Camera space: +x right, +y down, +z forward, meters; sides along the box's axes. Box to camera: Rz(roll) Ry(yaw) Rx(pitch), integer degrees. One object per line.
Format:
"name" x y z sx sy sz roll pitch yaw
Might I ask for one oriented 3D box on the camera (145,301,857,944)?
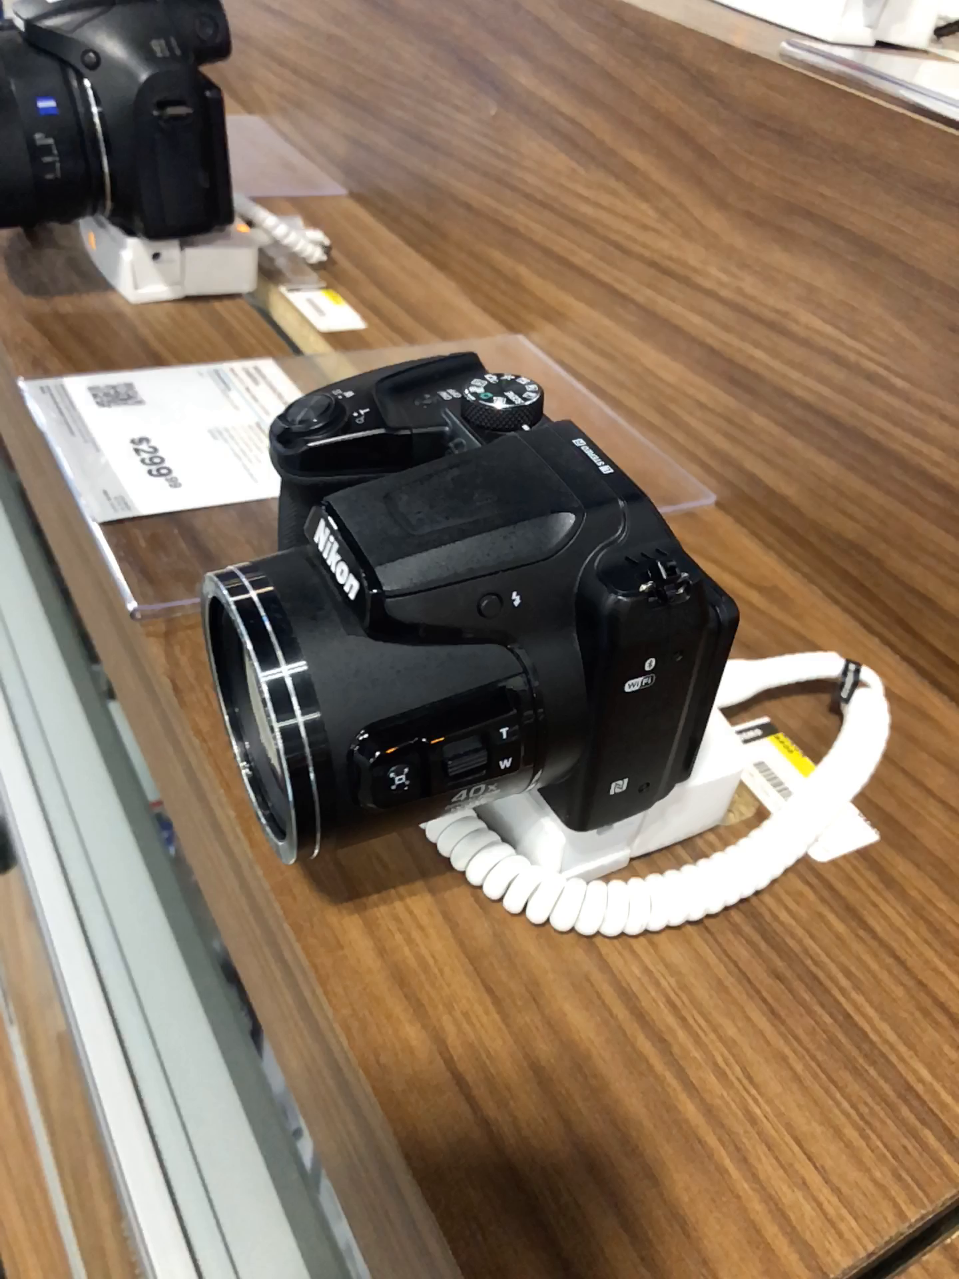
"camera" -0.005 -0.015 0.245 0.110 0.079 0.111 -12 44 -28
